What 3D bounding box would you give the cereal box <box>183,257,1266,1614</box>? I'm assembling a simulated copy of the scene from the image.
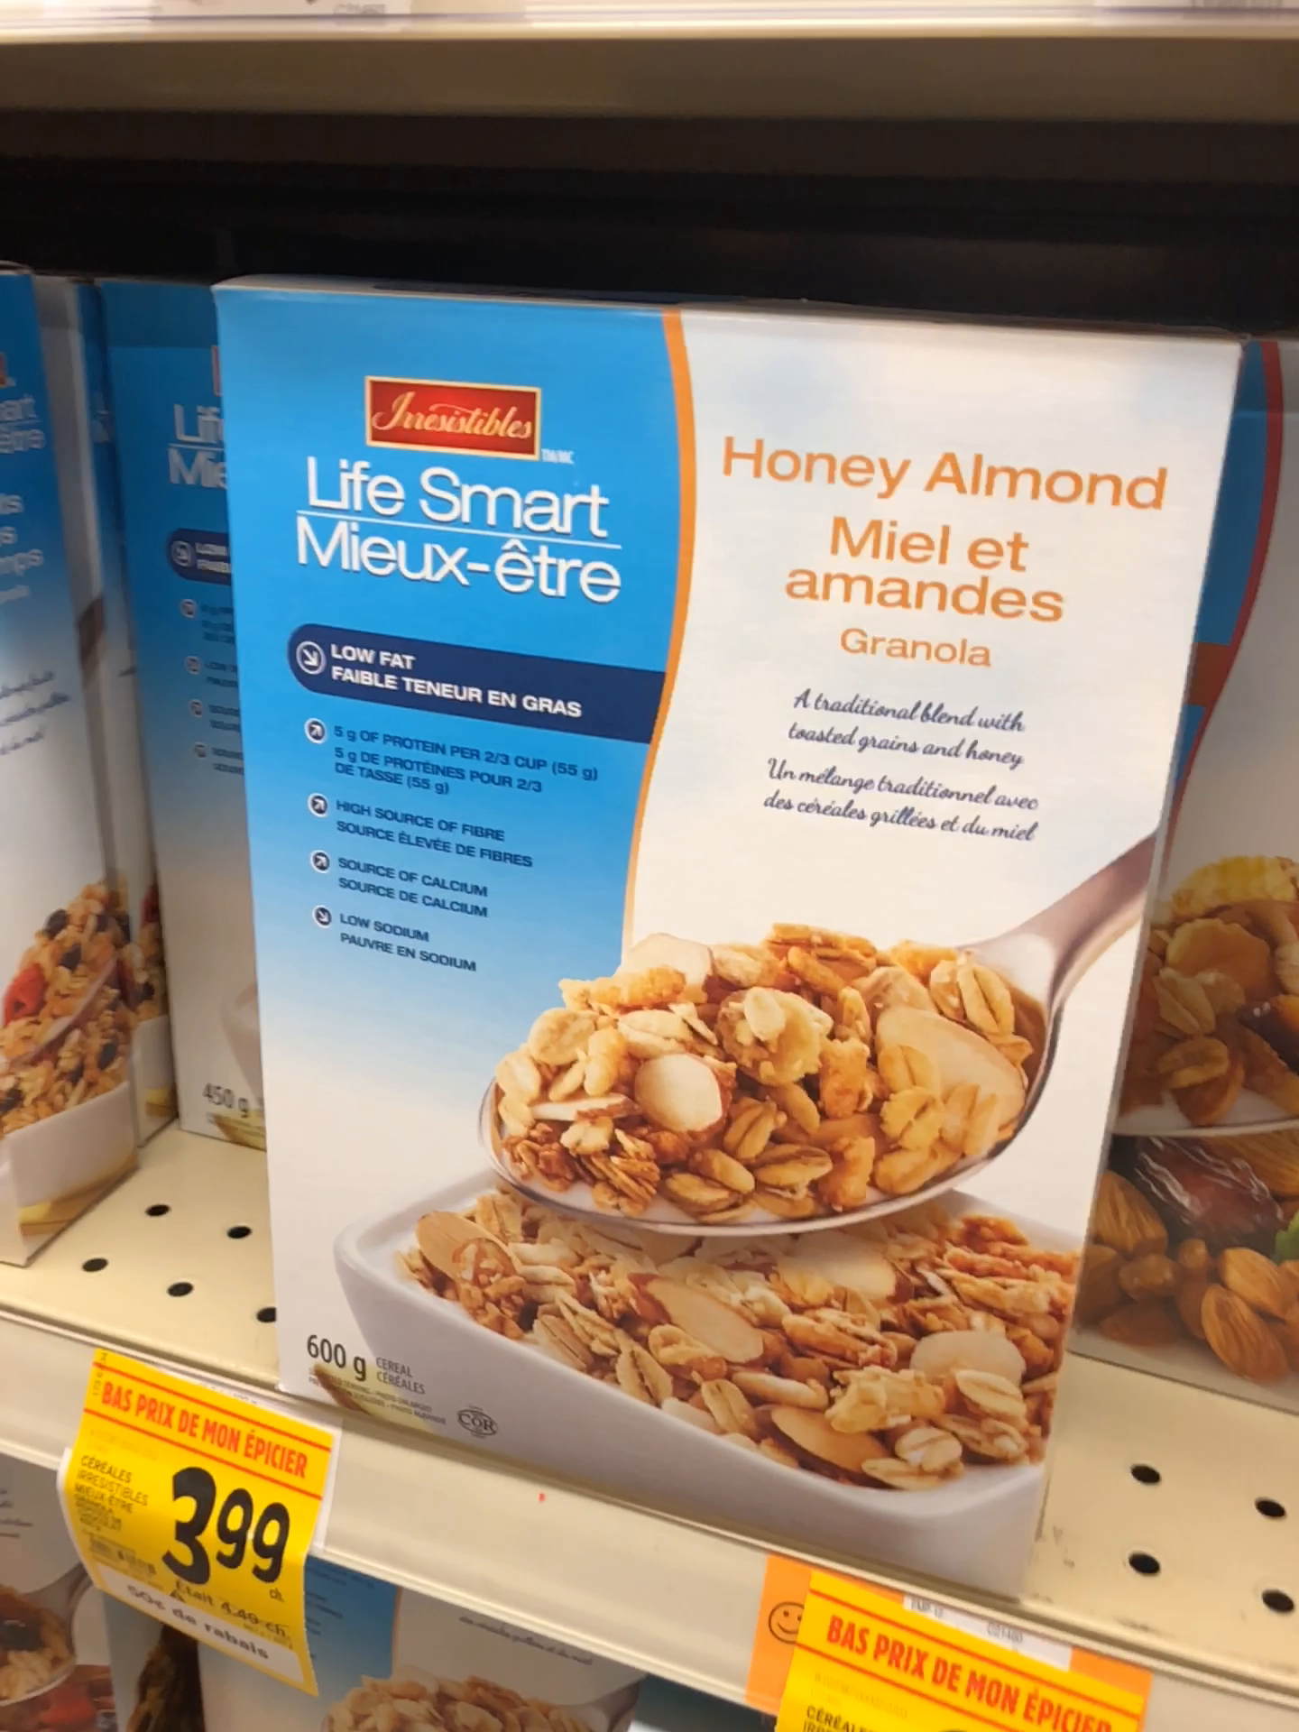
[{"bbox_3d":[0.007,0.011,0.288,0.170,0.238,0.060,9,23,17],"label":"cereal box"}]
